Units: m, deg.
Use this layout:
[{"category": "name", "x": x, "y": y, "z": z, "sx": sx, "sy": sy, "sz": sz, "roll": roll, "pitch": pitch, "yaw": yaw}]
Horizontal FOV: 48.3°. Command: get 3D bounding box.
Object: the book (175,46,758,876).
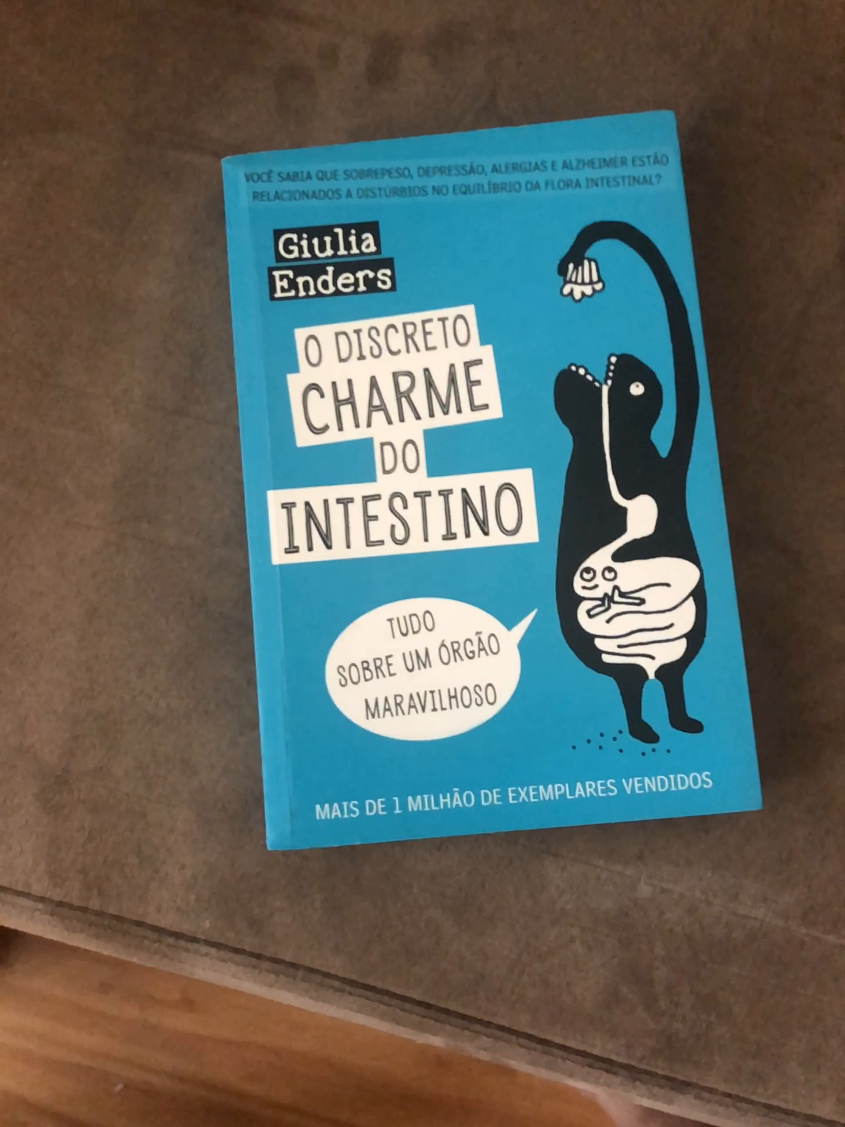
[{"category": "book", "x": 0.008, "y": -0.032, "z": 0.271, "sx": 0.140, "sy": 0.030, "sz": 0.220, "roll": -5, "pitch": 82, "yaw": 0}]
